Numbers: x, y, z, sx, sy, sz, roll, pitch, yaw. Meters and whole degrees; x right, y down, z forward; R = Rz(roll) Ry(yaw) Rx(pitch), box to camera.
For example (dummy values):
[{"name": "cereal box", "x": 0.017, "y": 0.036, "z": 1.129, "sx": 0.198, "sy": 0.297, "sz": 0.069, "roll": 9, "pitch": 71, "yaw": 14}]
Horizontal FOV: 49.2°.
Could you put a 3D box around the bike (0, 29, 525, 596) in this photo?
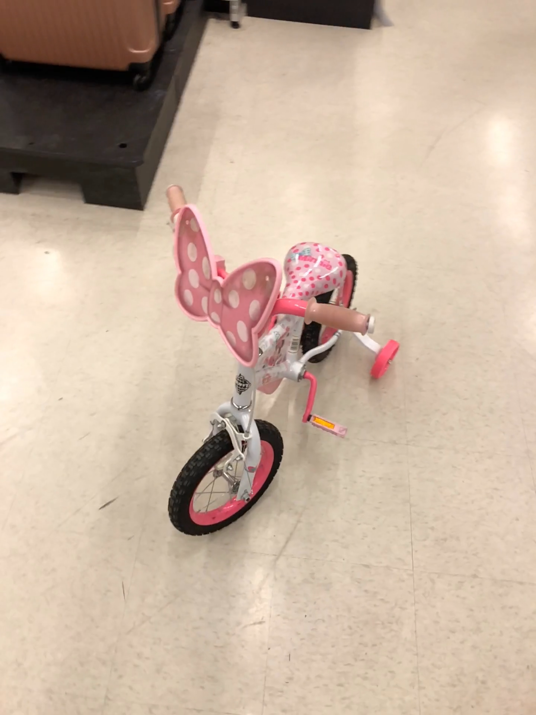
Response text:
[{"name": "bike", "x": 0.018, "y": -0.078, "z": 1.193, "sx": 0.510, "sy": 0.681, "sz": 0.776, "roll": 28, "pitch": 59, "yaw": 15}]
